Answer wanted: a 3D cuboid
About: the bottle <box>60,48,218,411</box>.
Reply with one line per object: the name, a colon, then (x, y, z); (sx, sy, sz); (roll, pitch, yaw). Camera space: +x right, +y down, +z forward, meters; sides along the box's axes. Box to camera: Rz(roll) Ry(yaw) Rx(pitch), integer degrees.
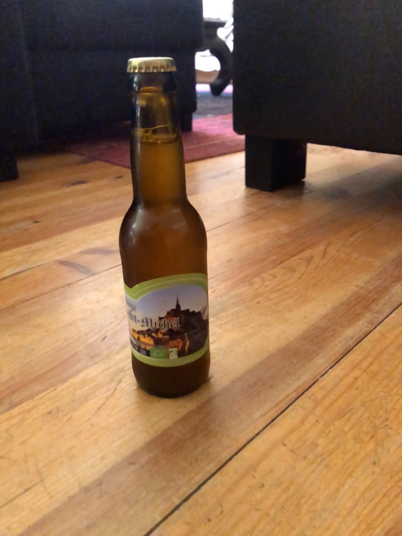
bottle: (-0.029, -0.020, 0.301); (0.070, 0.229, 0.070); (-1, 25, 0)
